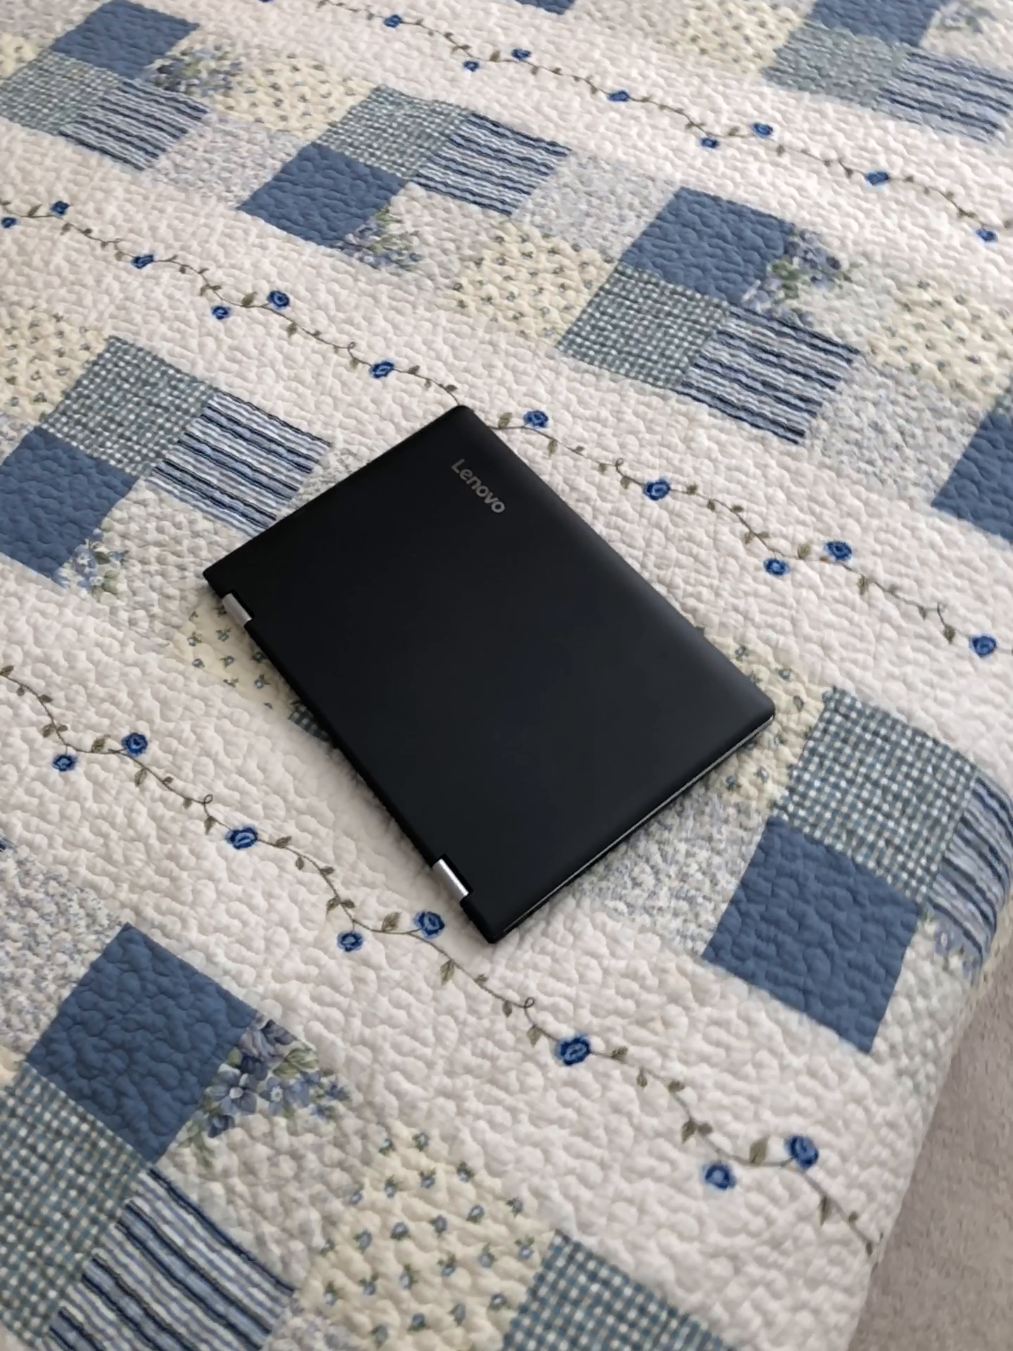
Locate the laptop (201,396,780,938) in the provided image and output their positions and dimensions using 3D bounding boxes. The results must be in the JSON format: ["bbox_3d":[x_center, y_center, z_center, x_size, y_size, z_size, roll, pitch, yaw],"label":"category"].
[{"bbox_3d":[-0.021,-0.026,0.718,0.223,0.008,0.321,-37,65,-12],"label":"laptop"}]
